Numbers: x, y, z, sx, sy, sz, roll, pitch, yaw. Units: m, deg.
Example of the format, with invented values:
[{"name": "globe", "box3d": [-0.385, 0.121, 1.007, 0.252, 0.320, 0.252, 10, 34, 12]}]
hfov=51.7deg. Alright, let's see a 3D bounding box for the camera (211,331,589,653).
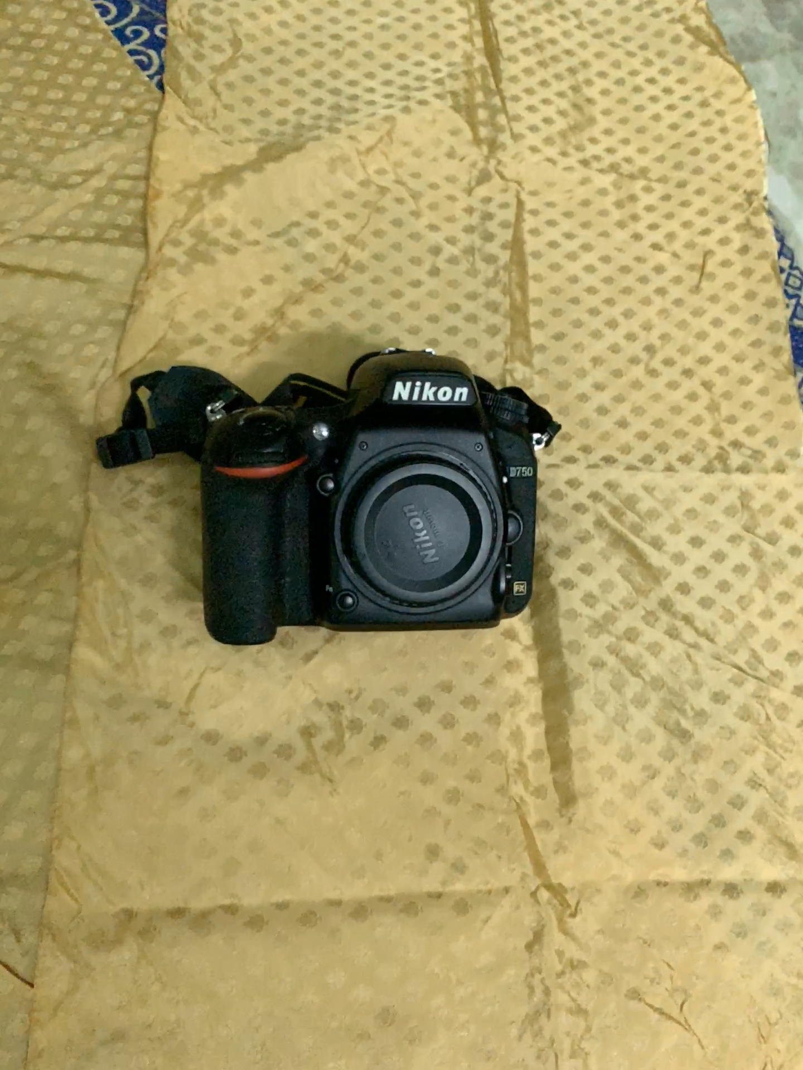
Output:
[{"name": "camera", "box3d": [-0.006, -0.018, 0.328, 0.130, 0.073, 0.110, 1, 100, -8]}]
